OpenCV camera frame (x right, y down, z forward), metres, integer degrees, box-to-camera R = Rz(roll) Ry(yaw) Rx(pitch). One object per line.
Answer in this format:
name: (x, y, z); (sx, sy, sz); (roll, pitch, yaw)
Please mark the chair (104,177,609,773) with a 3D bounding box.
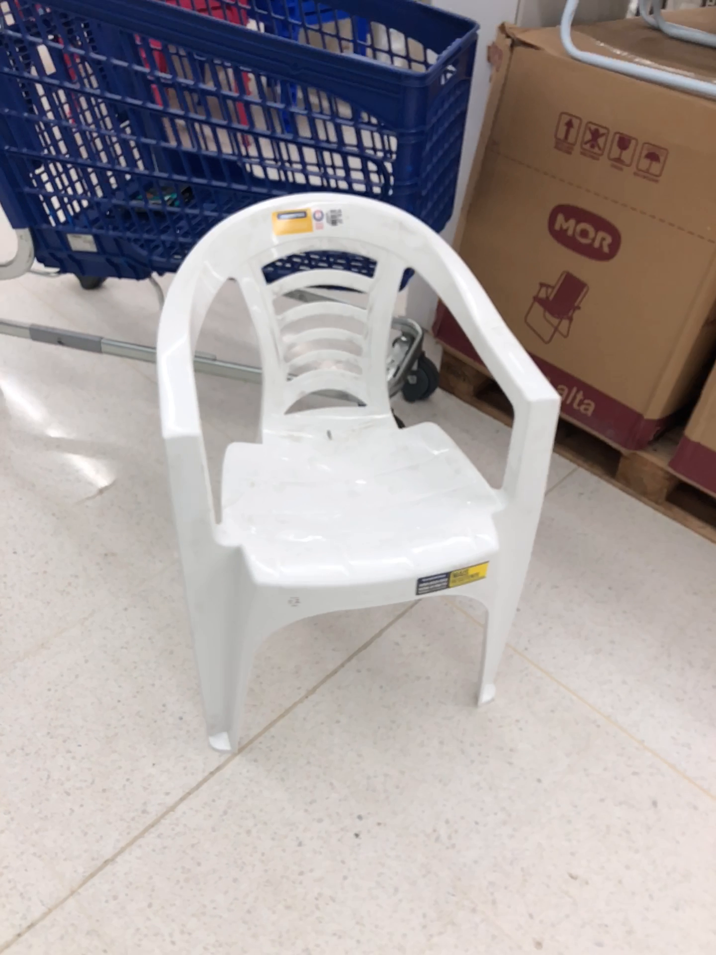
chair: (-0.061, -0.008, 1.219); (0.520, 0.696, 0.503); (-8, 43, -14)
